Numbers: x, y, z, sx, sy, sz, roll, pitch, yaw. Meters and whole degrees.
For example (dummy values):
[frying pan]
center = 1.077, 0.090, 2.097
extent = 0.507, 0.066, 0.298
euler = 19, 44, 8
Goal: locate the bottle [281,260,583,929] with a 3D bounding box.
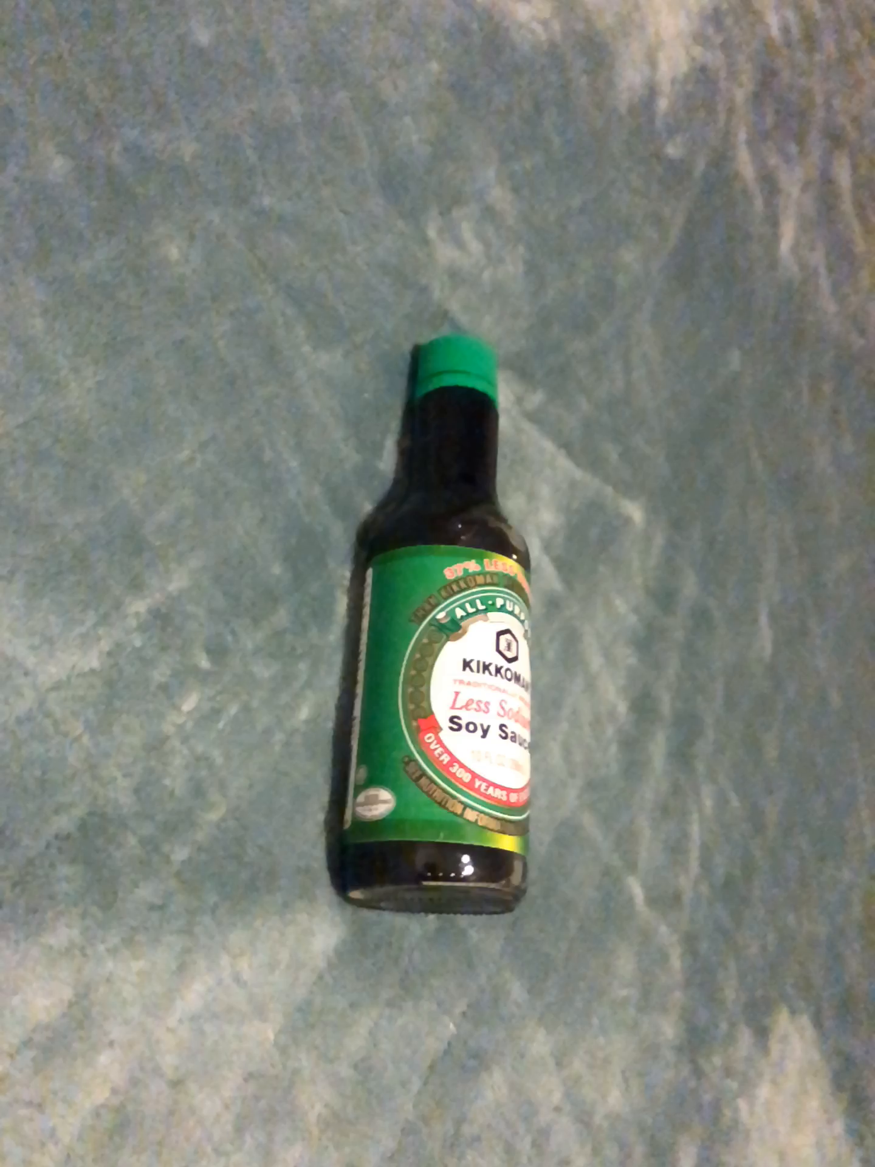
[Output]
[bottle]
center = 0.002, 0.005, 0.334
extent = 0.071, 0.060, 0.210
euler = 24, 59, -44
